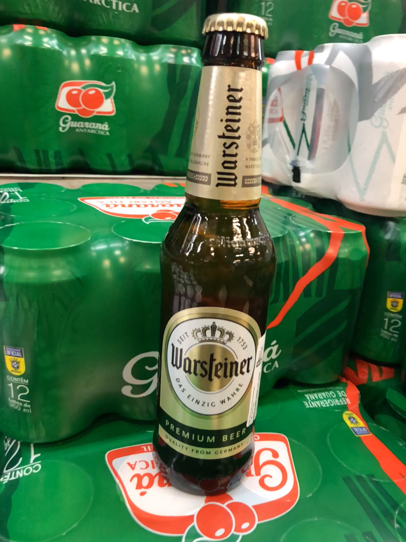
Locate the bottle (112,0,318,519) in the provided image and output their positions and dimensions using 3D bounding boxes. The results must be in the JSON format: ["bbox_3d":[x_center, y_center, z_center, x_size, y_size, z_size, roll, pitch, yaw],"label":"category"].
[{"bbox_3d":[0.000,0.001,0.219,0.070,0.229,0.060,7,19,7],"label":"bottle"}]
